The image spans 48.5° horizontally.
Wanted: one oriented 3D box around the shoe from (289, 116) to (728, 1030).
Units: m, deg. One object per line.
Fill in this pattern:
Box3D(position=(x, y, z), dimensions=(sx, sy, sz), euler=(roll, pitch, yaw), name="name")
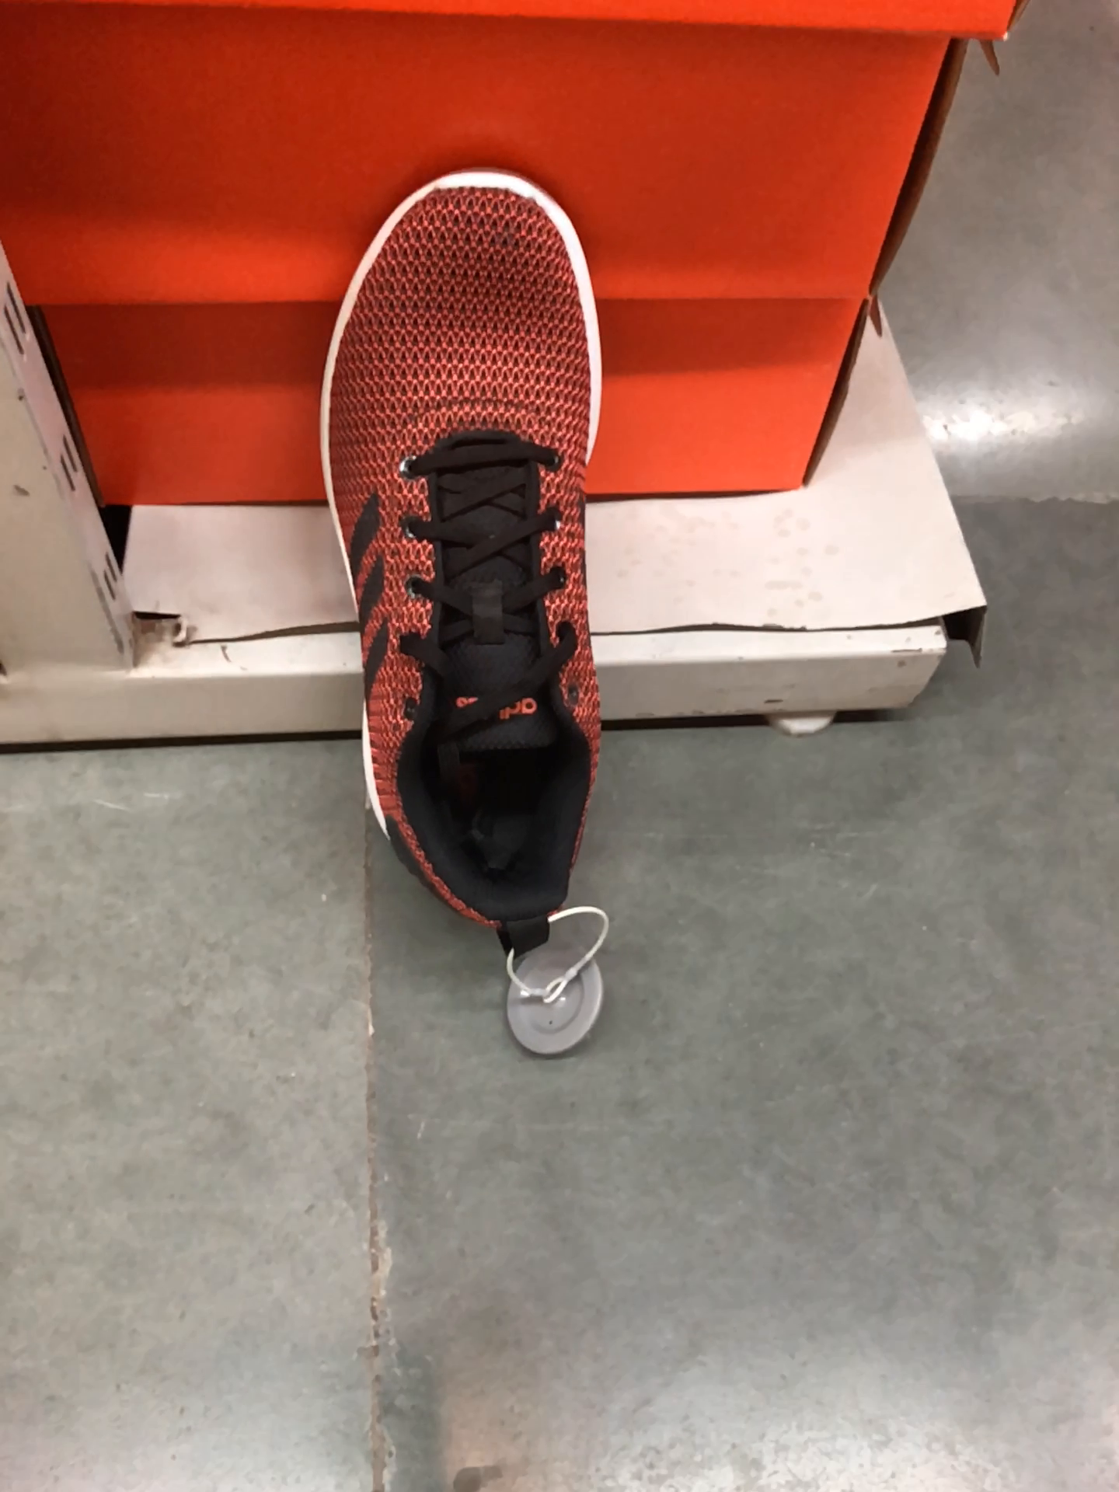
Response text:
Box3D(position=(-0.027, -0.058, 0.425), dimensions=(0.110, 0.270, 0.133), euler=(-1, 24, -9), name="shoe")
